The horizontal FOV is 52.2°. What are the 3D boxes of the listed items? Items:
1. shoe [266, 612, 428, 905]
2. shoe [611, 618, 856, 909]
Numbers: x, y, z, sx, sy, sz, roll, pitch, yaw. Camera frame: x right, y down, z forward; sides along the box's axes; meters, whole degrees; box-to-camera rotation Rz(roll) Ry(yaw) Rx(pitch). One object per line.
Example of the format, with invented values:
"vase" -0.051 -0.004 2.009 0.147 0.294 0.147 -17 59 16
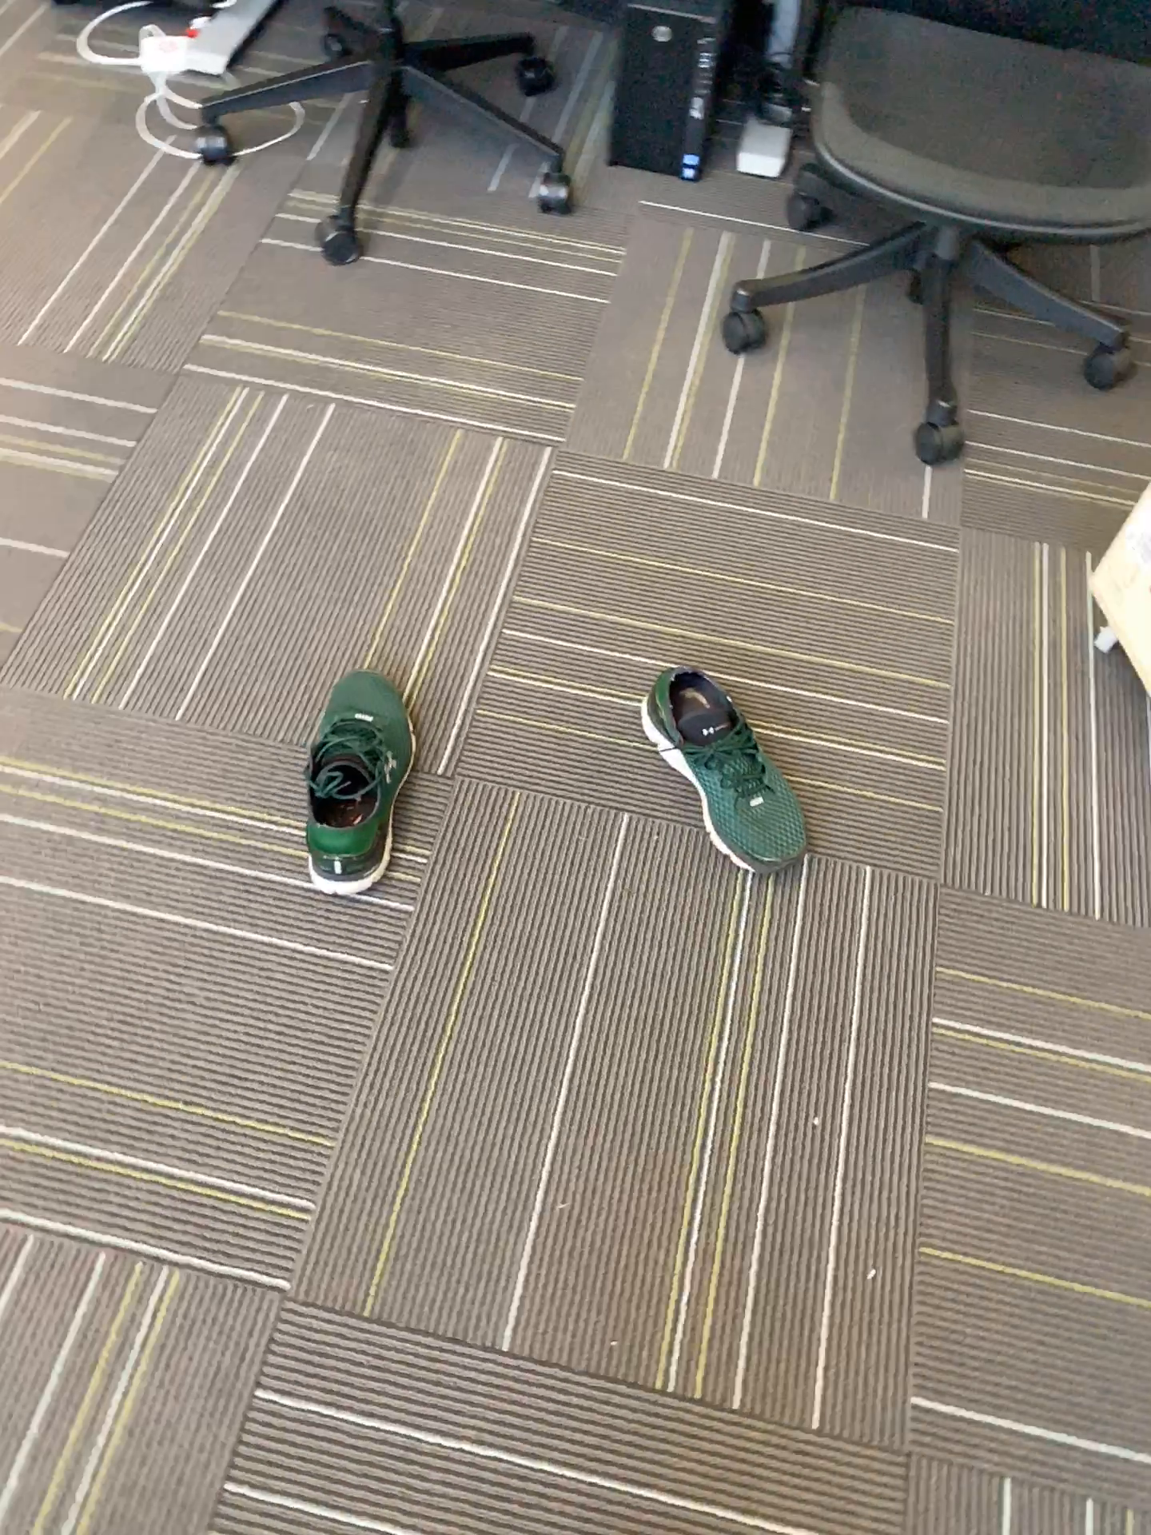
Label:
"shoe" -0.259 -0.014 1.378 0.130 0.140 0.311 3 58 -1
"shoe" 0.183 -0.008 1.446 0.130 0.140 0.311 -24 62 -17
